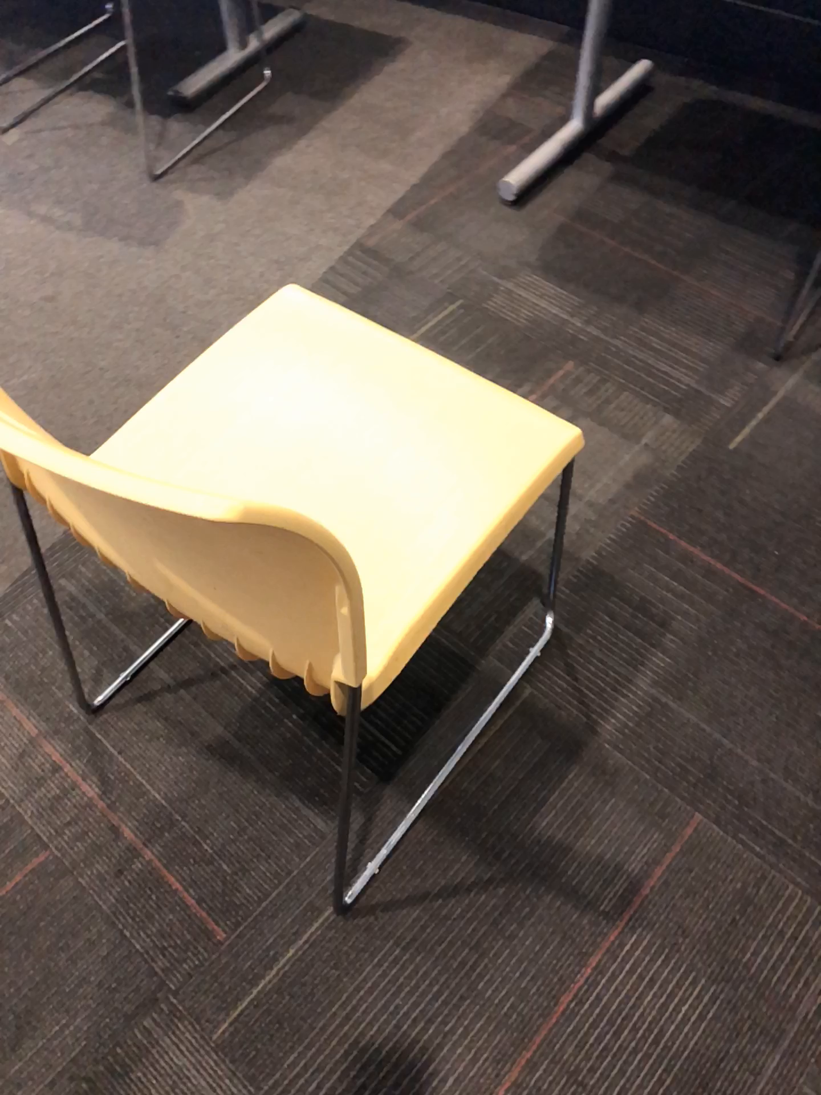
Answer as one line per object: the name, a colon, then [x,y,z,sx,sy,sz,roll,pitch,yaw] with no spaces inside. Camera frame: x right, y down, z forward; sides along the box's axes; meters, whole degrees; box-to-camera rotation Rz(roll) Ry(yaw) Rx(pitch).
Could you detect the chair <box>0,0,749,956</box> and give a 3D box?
chair: [-0.138,-0.083,0.956,0.571,0.738,0.561,32,60,23]
